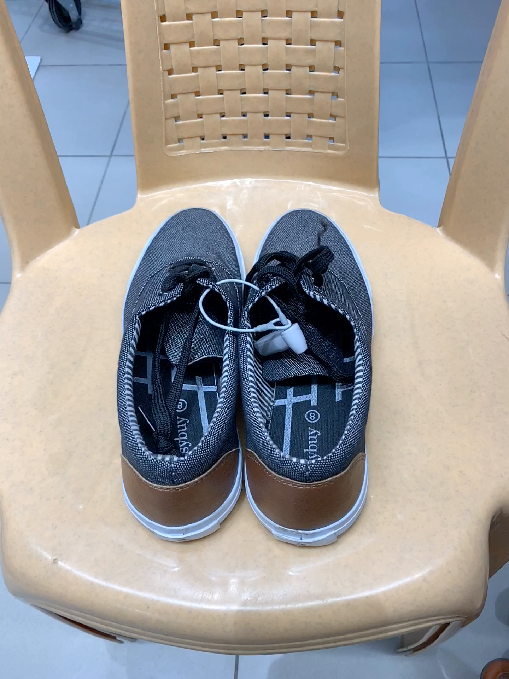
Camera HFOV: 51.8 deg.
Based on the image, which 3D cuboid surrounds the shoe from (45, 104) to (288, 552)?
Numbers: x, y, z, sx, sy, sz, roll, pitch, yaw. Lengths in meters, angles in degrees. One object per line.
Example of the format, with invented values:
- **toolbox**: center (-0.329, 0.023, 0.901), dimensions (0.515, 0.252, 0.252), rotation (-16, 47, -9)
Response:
- **shoe**: center (-0.041, -0.018, 0.332), dimensions (0.100, 0.110, 0.260), rotation (-5, 57, 1)

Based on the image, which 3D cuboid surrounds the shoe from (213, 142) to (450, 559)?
- **shoe**: center (0.040, -0.003, 0.365), dimensions (0.110, 0.110, 0.270), rotation (-1, 57, 3)
